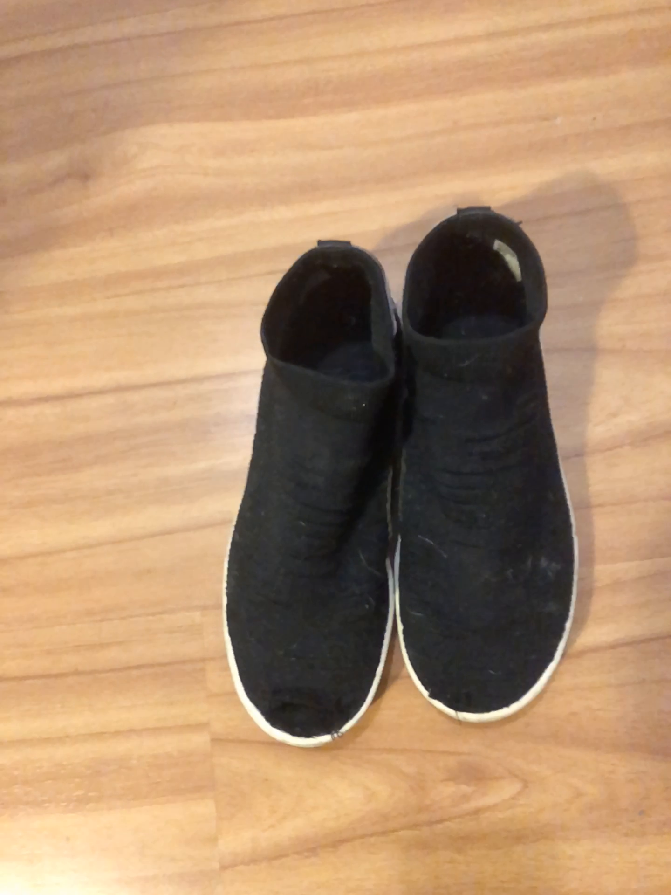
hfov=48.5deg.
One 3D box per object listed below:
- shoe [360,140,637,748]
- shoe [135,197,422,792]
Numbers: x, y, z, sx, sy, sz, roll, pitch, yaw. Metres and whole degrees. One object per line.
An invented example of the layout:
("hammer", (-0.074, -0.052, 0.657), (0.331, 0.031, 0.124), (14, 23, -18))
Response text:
("shoe", (0.071, 0.000, 0.369), (0.100, 0.100, 0.260), (-3, 80, 6))
("shoe", (-0.017, 0.019, 0.385), (0.100, 0.100, 0.260), (5, 81, 8))
